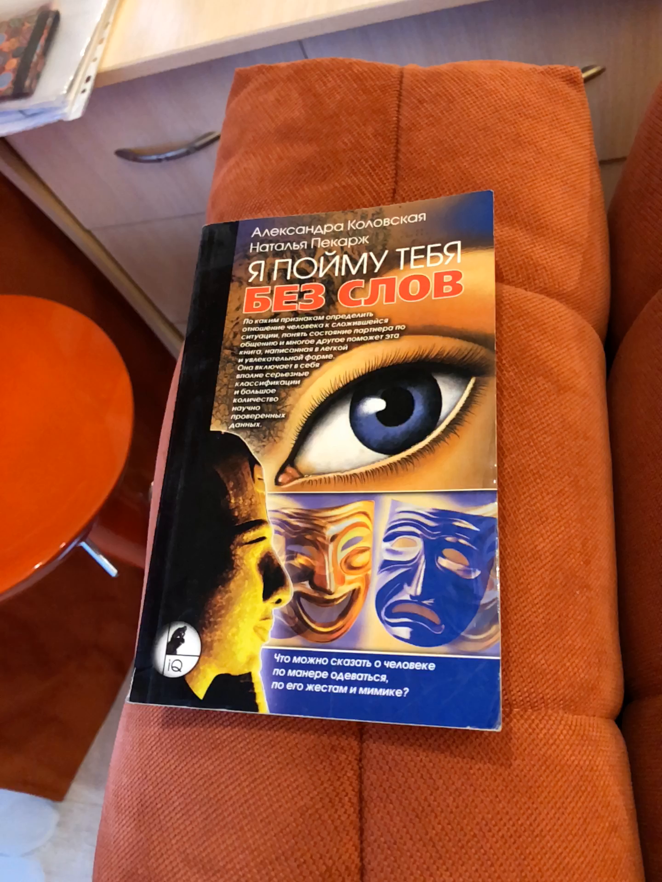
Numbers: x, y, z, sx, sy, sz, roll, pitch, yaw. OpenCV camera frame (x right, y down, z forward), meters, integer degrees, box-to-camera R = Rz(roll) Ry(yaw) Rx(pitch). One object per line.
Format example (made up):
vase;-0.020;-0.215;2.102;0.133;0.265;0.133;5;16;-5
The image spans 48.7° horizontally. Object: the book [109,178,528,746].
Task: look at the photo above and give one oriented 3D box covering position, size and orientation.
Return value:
book;0.001;0.001;0.263;0.128;0.030;0.191;-2;68;17
